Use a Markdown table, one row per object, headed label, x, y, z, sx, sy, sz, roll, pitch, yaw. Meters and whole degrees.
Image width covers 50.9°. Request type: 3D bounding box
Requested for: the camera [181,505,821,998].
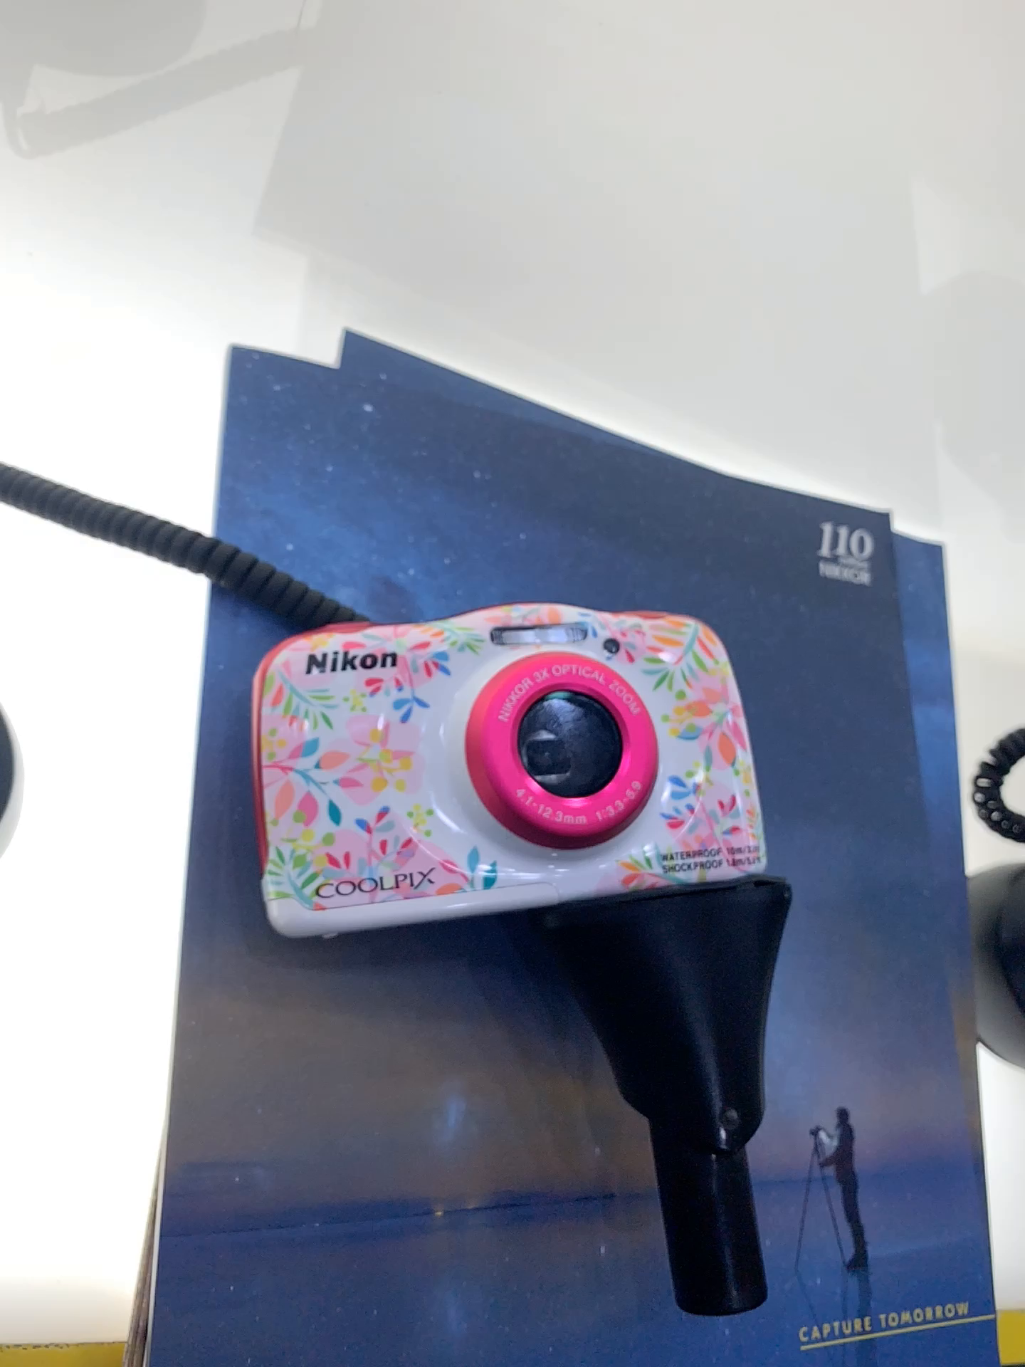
| label | x | y | z | sx | sy | sz | roll | pitch | yaw |
| --- | --- | --- | --- | --- | --- | --- | --- | --- | --- |
| camera | -0.004 | 0.011 | 0.220 | 0.110 | 0.040 | 0.080 | -2 | 67 | -28 |
